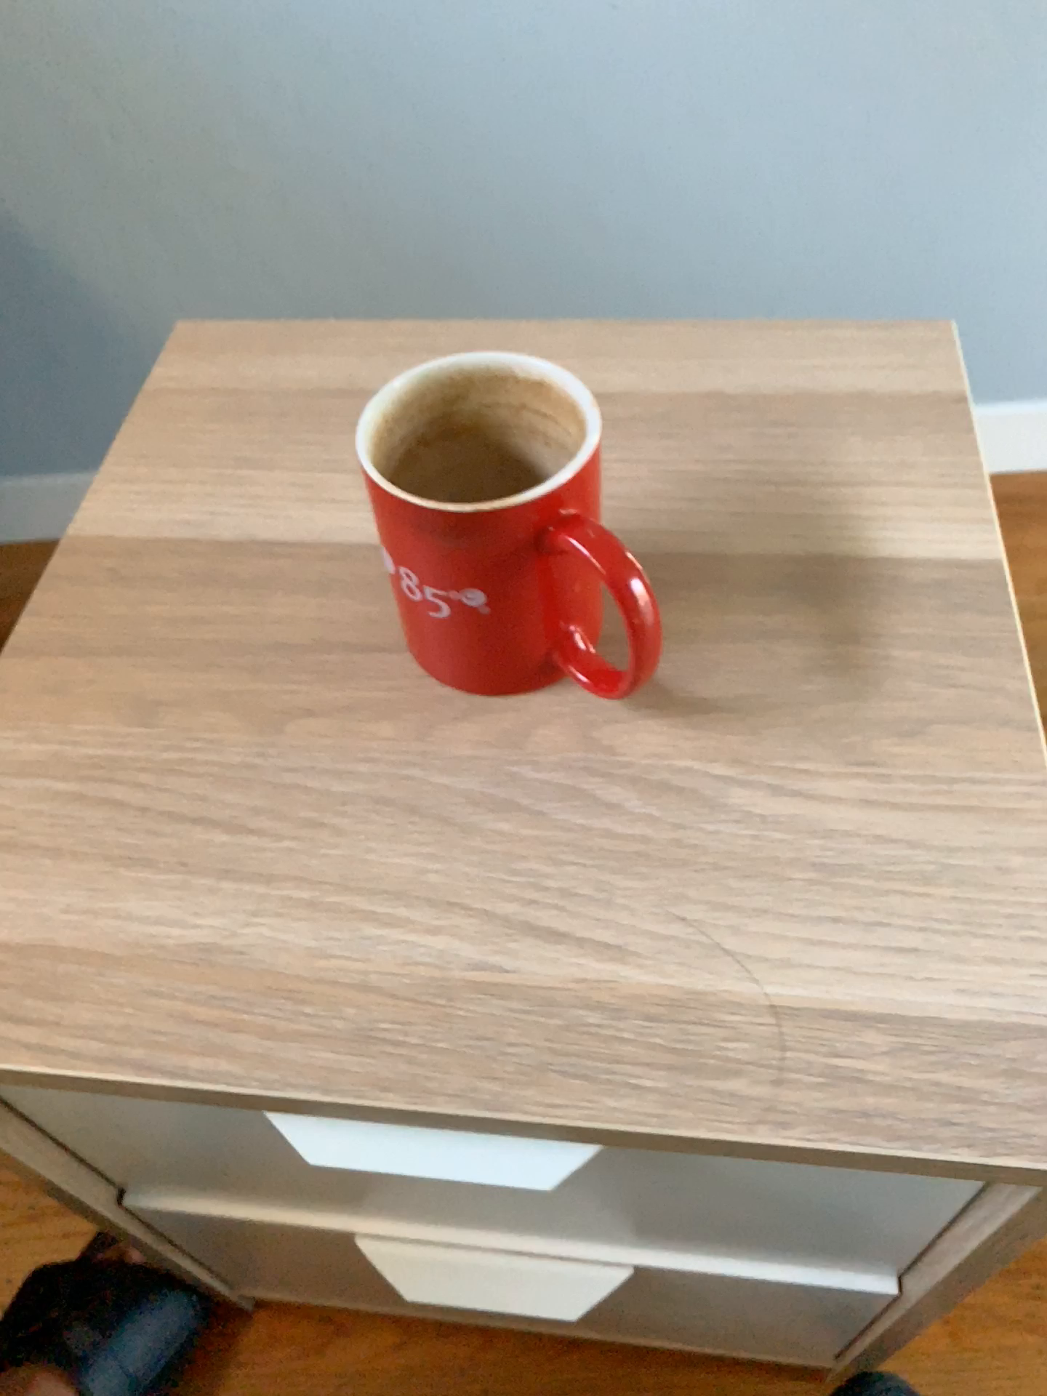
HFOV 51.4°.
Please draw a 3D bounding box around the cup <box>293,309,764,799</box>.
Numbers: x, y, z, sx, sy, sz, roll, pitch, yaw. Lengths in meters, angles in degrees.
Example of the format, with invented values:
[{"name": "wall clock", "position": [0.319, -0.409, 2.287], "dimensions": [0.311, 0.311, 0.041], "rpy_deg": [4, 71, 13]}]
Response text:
[{"name": "cup", "position": [0.001, -0.054, 0.388], "dimensions": [0.090, 0.090, 0.130], "rpy_deg": [-36, 57, -21]}]
